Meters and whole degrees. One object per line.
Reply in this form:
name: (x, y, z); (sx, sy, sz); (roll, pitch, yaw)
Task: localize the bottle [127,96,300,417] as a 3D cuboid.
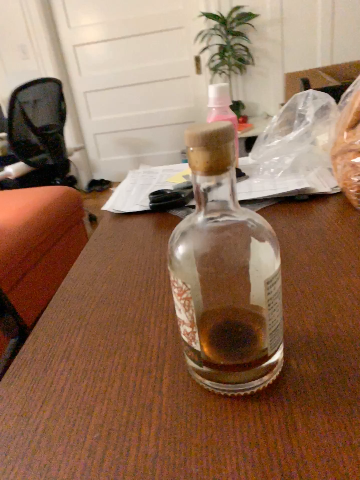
bottle: (0.029, 0.012, 0.251); (0.080, 0.189, 0.090); (-7, 25, 4)
